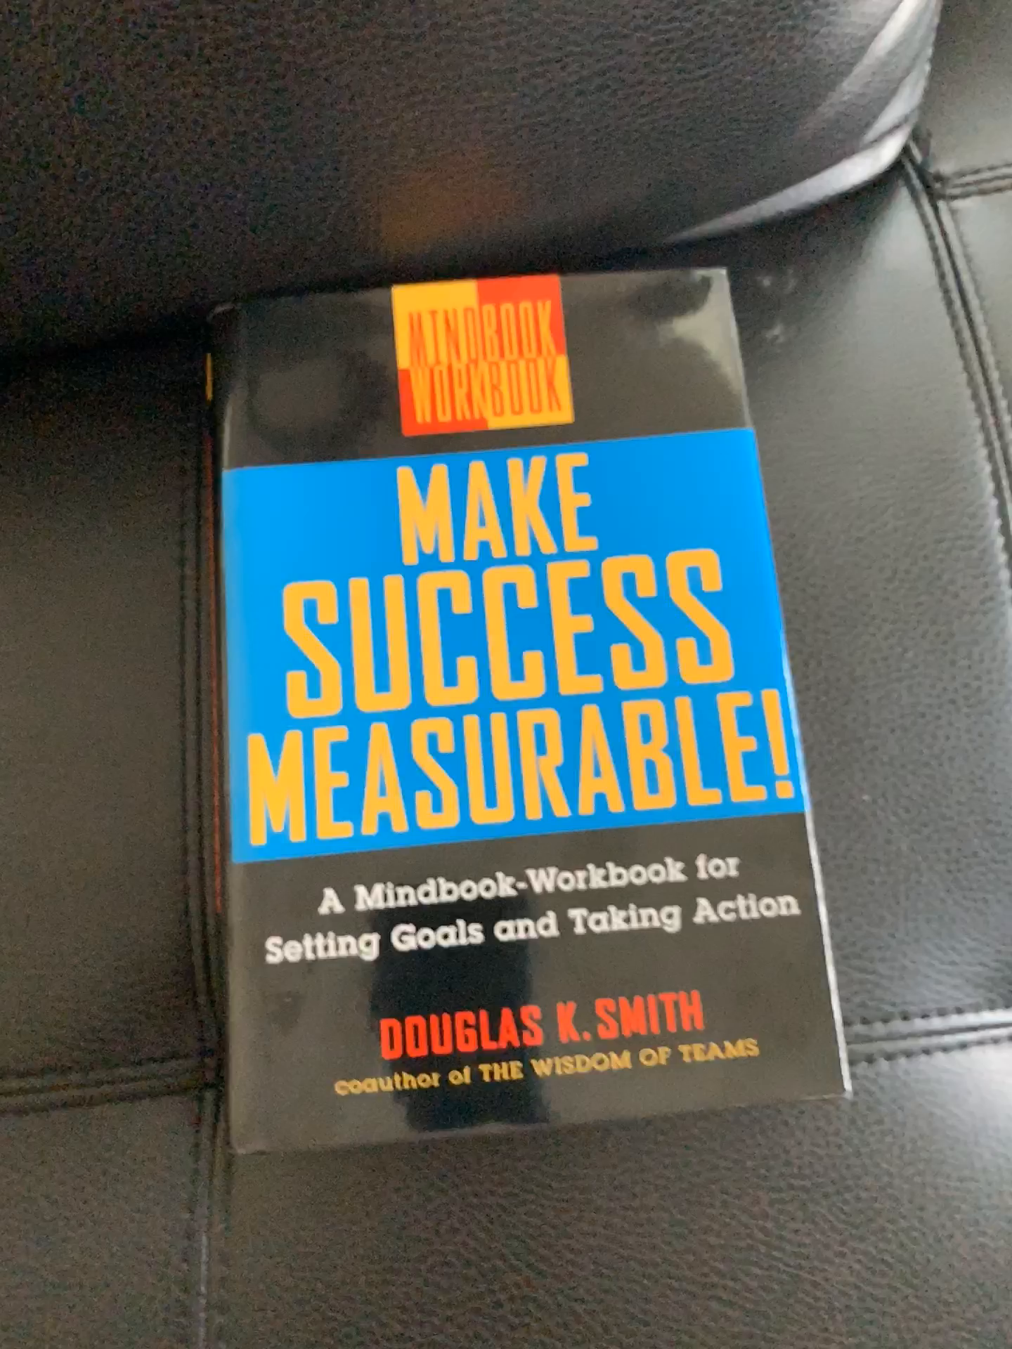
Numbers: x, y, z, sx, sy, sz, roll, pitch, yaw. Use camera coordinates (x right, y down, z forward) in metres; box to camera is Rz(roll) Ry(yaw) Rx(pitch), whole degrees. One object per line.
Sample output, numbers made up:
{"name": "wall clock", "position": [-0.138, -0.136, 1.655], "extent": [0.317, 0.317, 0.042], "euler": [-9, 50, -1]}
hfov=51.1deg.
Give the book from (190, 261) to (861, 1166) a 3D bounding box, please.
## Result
{"name": "book", "position": [-0.003, 0.002, 0.306], "extent": [0.164, 0.030, 0.241], "euler": [-5, 77, -1]}
